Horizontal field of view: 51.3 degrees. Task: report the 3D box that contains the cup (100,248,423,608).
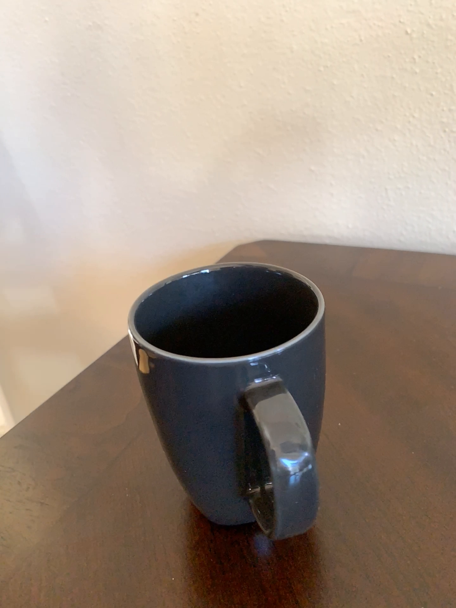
[{"bbox_3d":[0.006,0.046,0.205,0.089,0.096,0.107,-15,28,-15],"label":"cup"}]
